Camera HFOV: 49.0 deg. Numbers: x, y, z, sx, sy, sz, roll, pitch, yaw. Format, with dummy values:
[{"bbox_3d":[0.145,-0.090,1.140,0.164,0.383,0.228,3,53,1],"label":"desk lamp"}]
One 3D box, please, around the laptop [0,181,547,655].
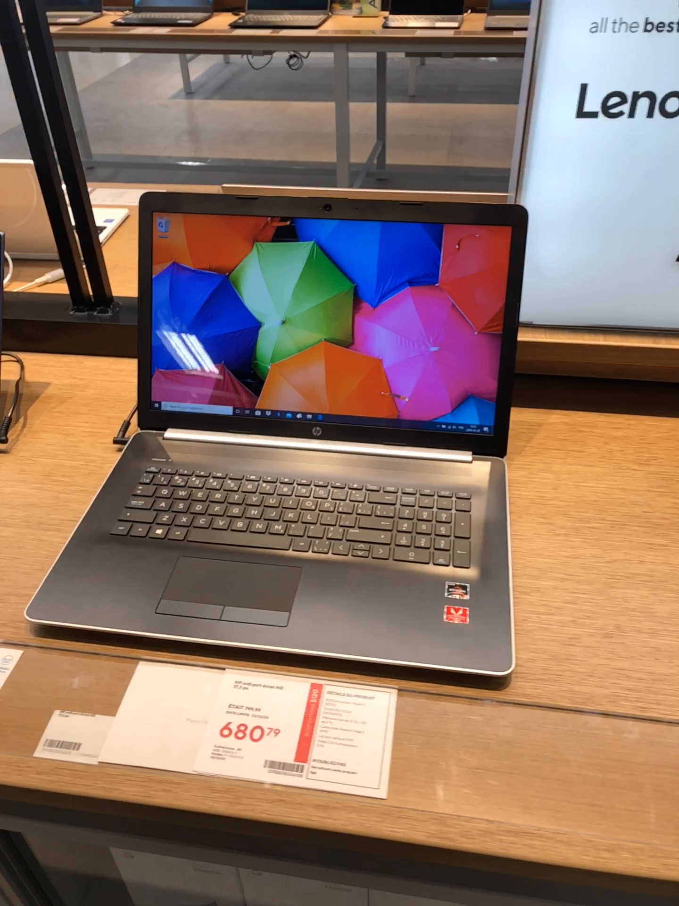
[{"bbox_3d":[-0.032,-0.067,0.713,0.399,0.217,0.399,4,41,8],"label":"laptop"}]
